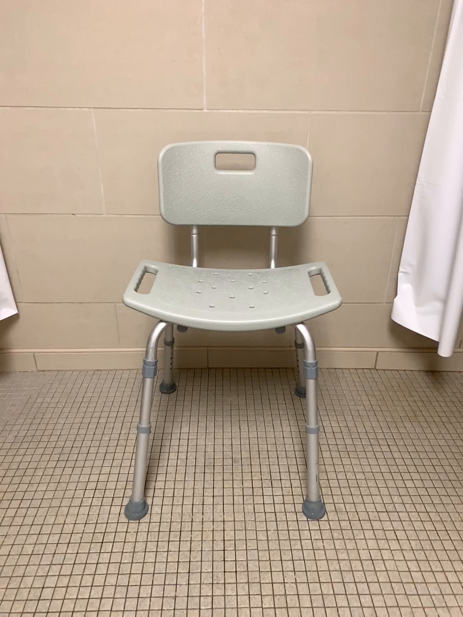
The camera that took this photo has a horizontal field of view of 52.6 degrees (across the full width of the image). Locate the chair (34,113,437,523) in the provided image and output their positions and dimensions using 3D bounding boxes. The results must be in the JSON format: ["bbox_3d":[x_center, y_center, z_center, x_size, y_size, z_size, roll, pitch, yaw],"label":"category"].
[{"bbox_3d":[0.013,0.006,1.051,0.549,0.744,0.525,-1,30,1],"label":"chair"}]
